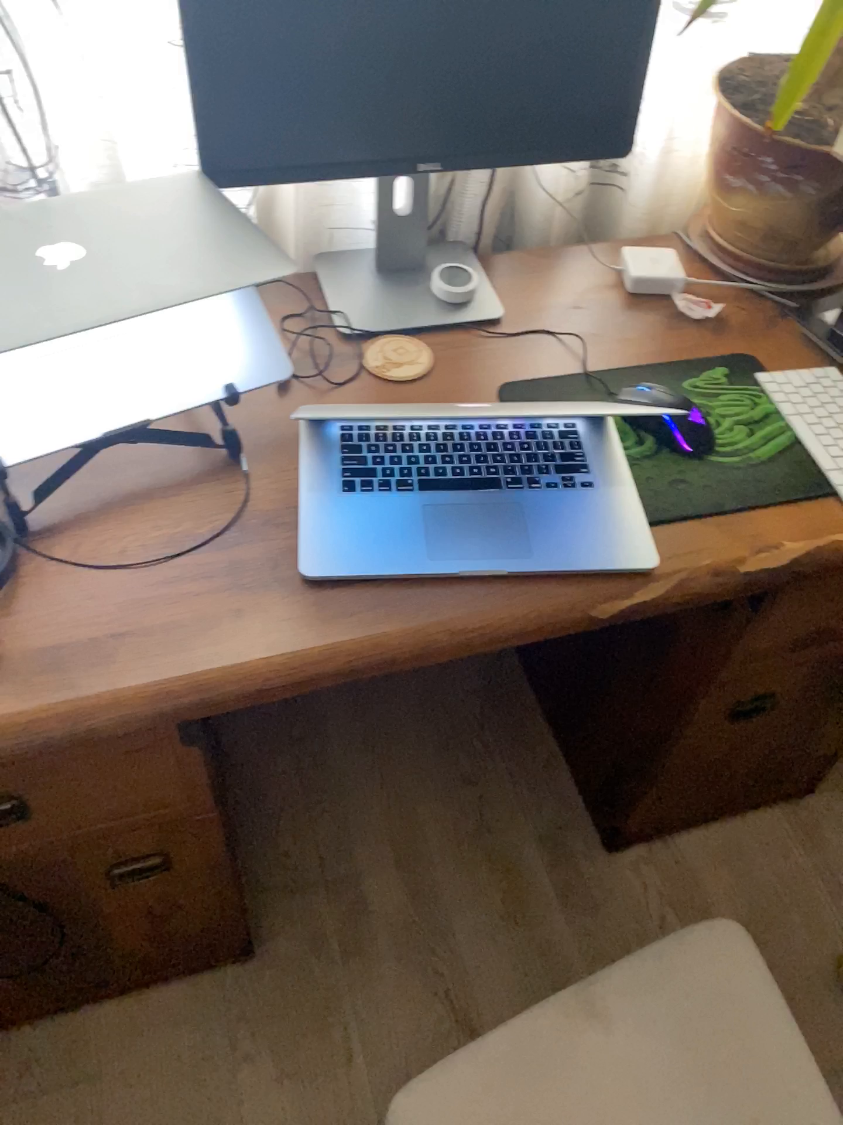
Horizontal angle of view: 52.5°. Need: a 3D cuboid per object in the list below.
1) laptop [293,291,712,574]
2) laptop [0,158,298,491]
[{"bbox_3d":[0.057,-0.131,0.845,0.355,0.152,0.236,-1,50,-6],"label":"laptop"},{"bbox_3d":[-0.331,-0.240,0.809,0.355,0.022,0.243,-23,80,-22],"label":"laptop"}]
